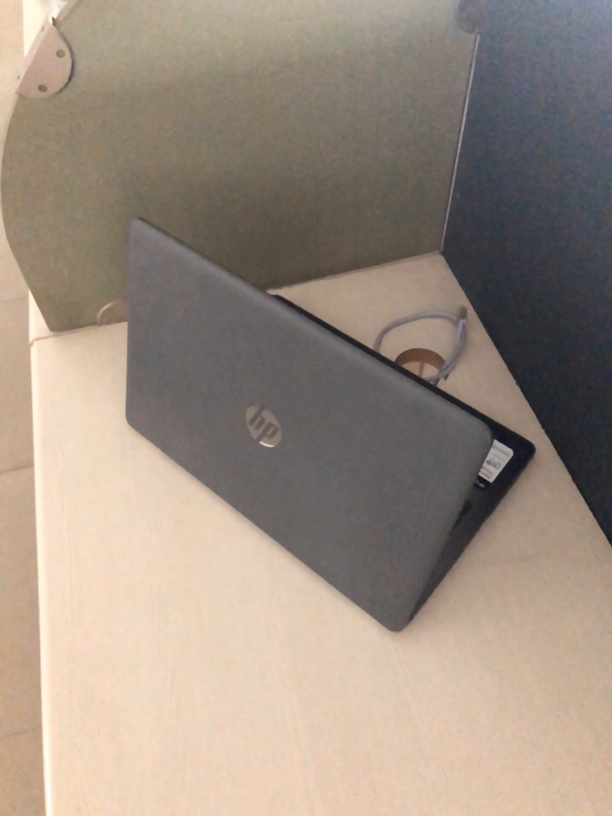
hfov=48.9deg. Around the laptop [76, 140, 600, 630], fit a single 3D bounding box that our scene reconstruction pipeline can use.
[{"bbox_3d":[0.018,-0.036,0.635,0.360,0.216,0.238,34,63,25],"label":"laptop"}]
